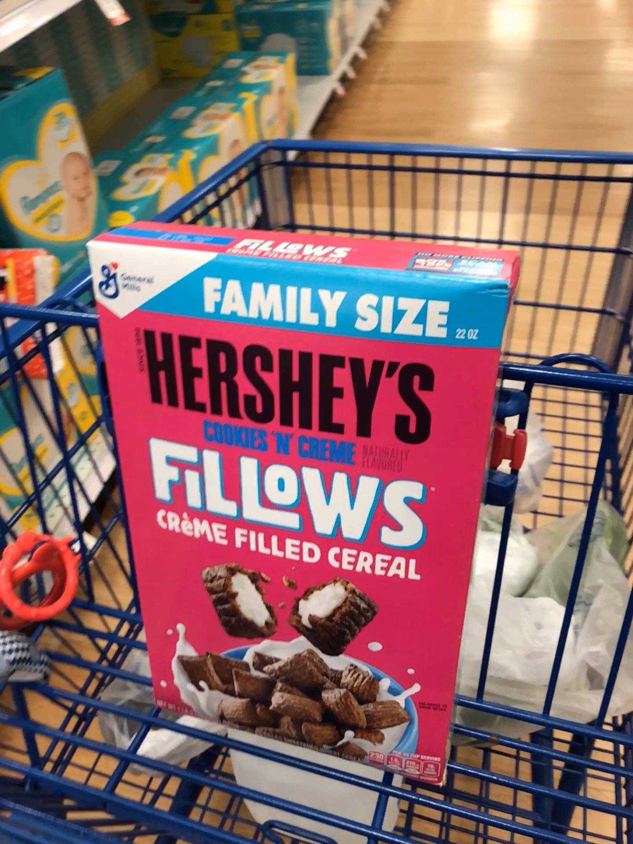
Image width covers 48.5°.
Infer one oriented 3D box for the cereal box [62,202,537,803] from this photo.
[{"bbox_3d":[-0.010,0.049,0.374,0.200,0.299,0.060,9,27,15],"label":"cereal box"}]
